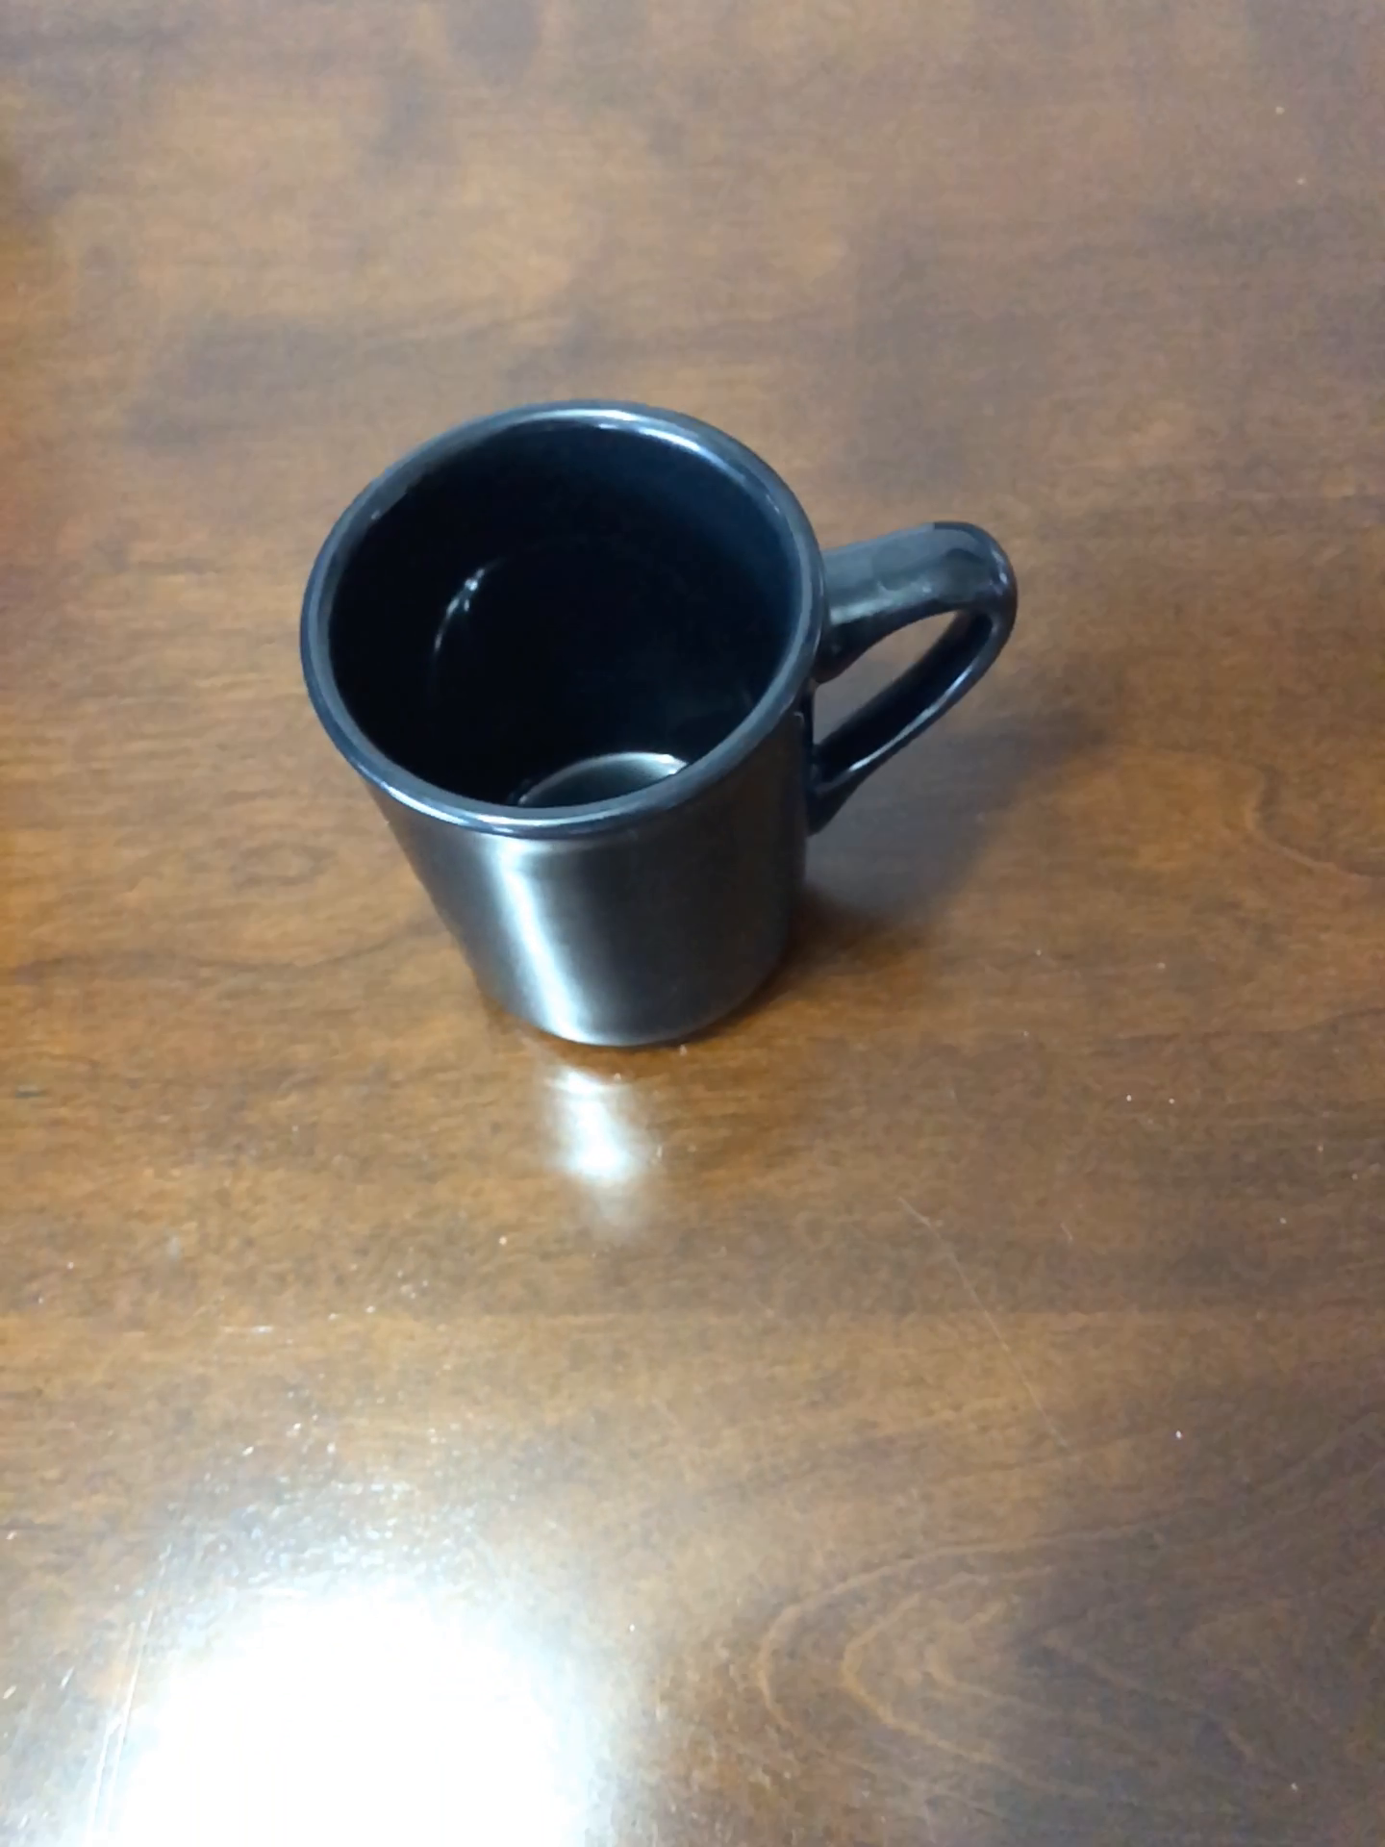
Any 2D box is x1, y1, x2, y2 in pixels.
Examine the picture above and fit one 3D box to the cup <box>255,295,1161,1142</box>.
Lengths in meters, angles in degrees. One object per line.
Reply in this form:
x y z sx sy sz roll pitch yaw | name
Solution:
0.000 -0.031 0.274 0.120 0.090 0.090 -13 63 -2 | cup
